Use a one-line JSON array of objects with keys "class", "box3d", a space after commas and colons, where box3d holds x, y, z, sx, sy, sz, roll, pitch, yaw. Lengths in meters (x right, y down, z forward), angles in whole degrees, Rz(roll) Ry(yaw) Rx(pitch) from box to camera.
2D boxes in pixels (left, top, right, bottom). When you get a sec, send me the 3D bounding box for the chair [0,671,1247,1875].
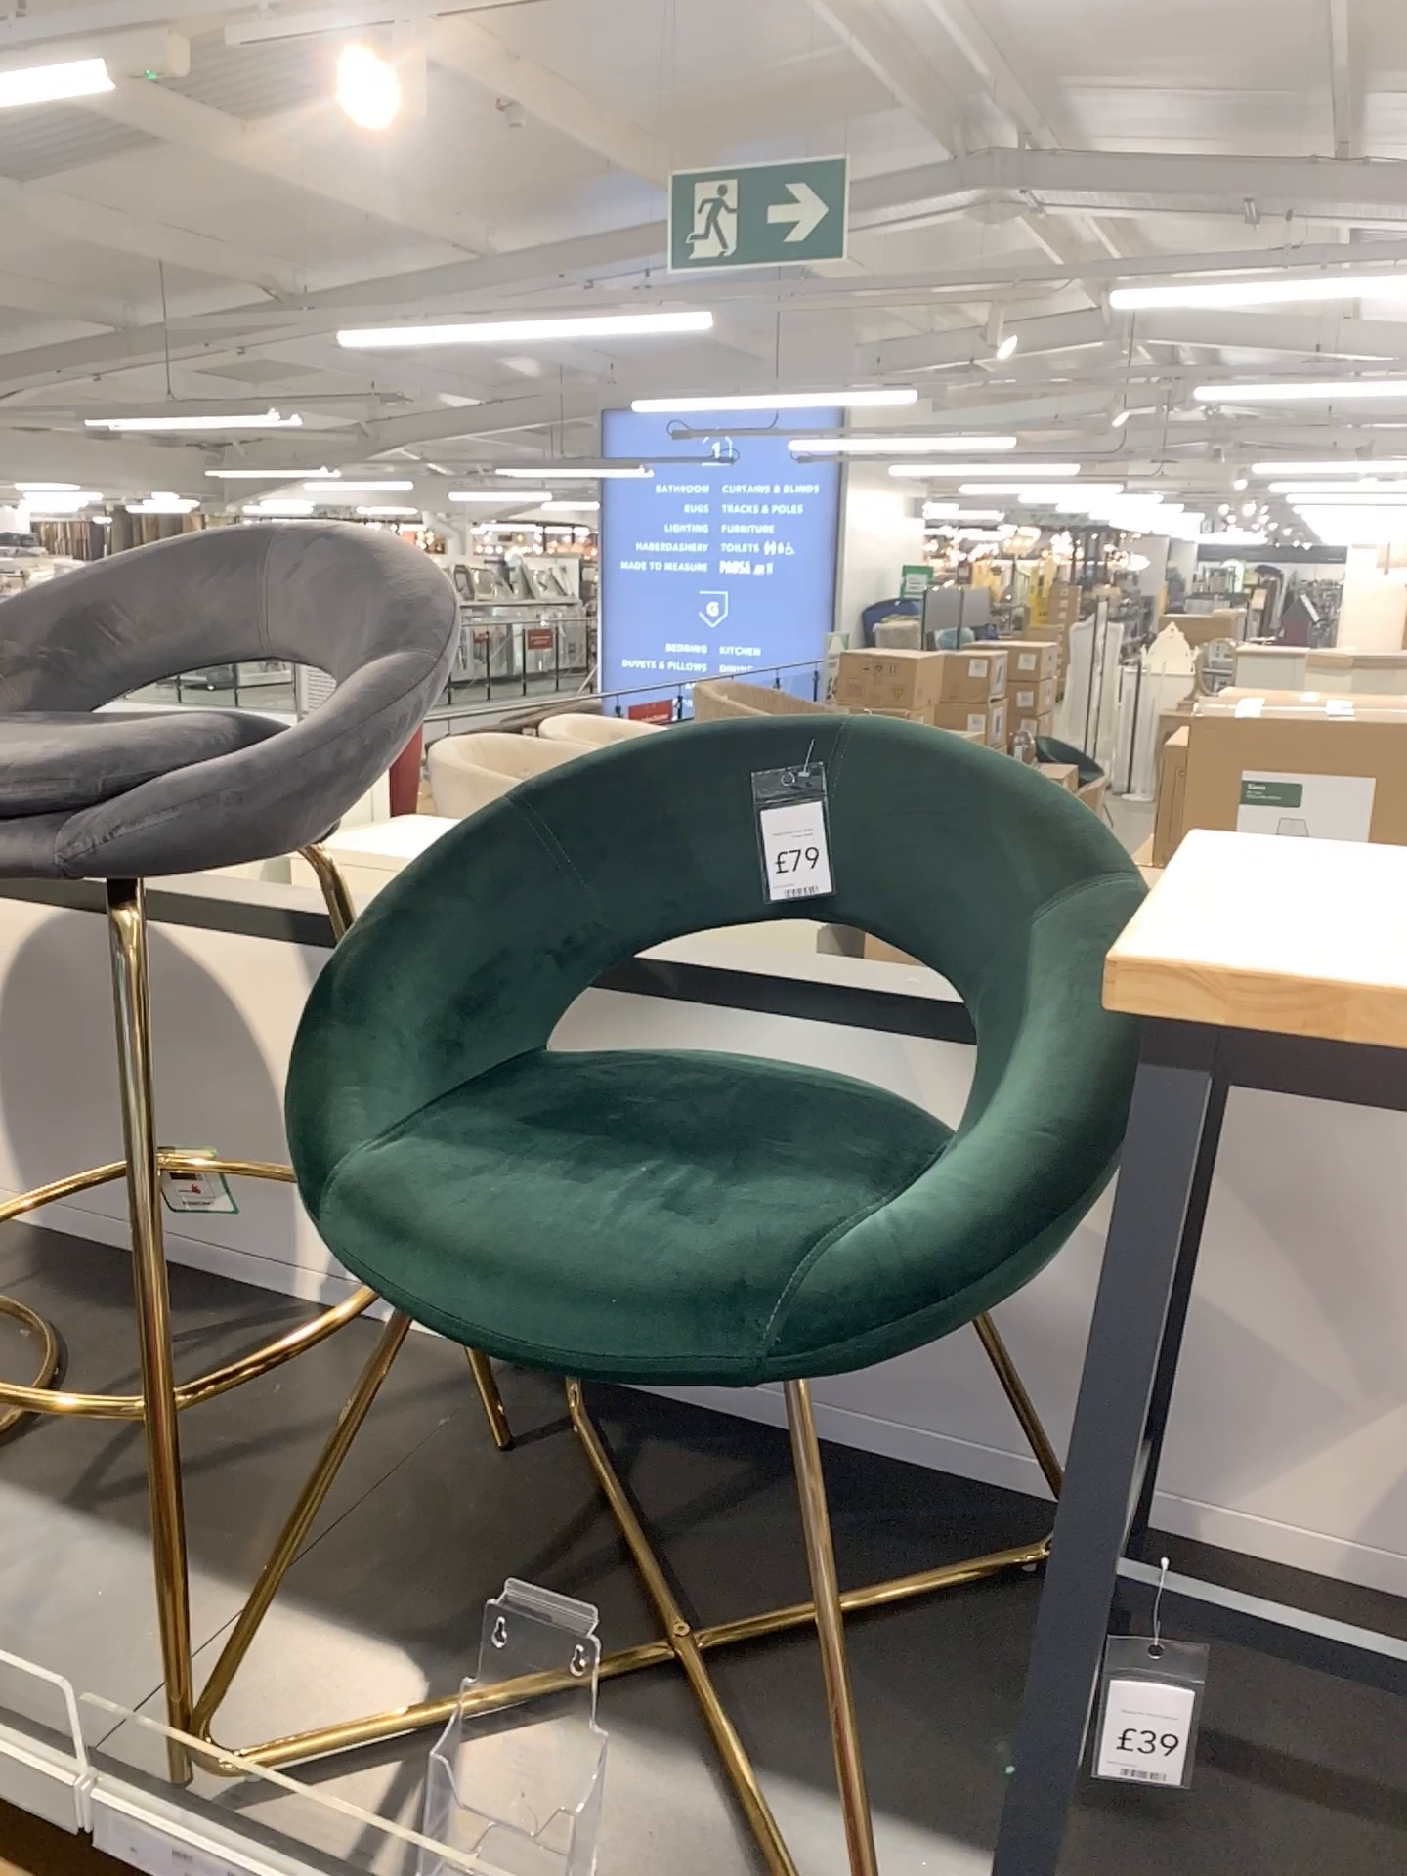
[{"class": "chair", "box3d": [0.003, 0.187, 1.080, 0.635, 0.697, 0.671, 8, 15, 24]}]
